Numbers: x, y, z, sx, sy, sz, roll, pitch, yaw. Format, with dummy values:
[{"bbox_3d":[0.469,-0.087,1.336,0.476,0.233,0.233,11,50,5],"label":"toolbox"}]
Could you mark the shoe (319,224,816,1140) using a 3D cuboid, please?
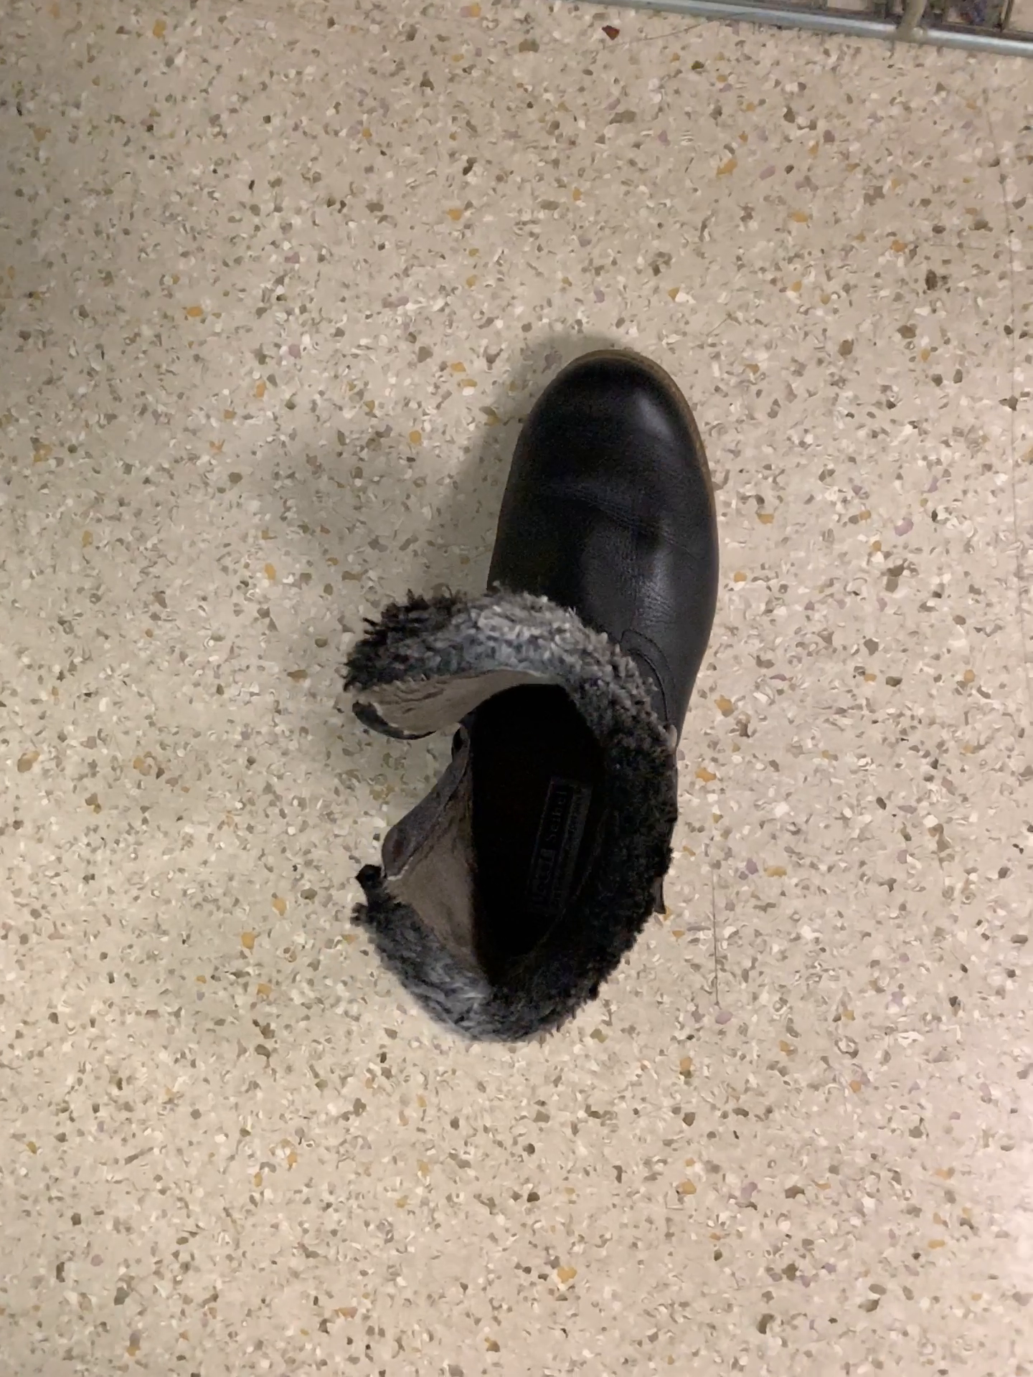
[{"bbox_3d":[0.024,-0.004,0.369,0.104,0.169,0.236,8,90,8],"label":"shoe"}]
